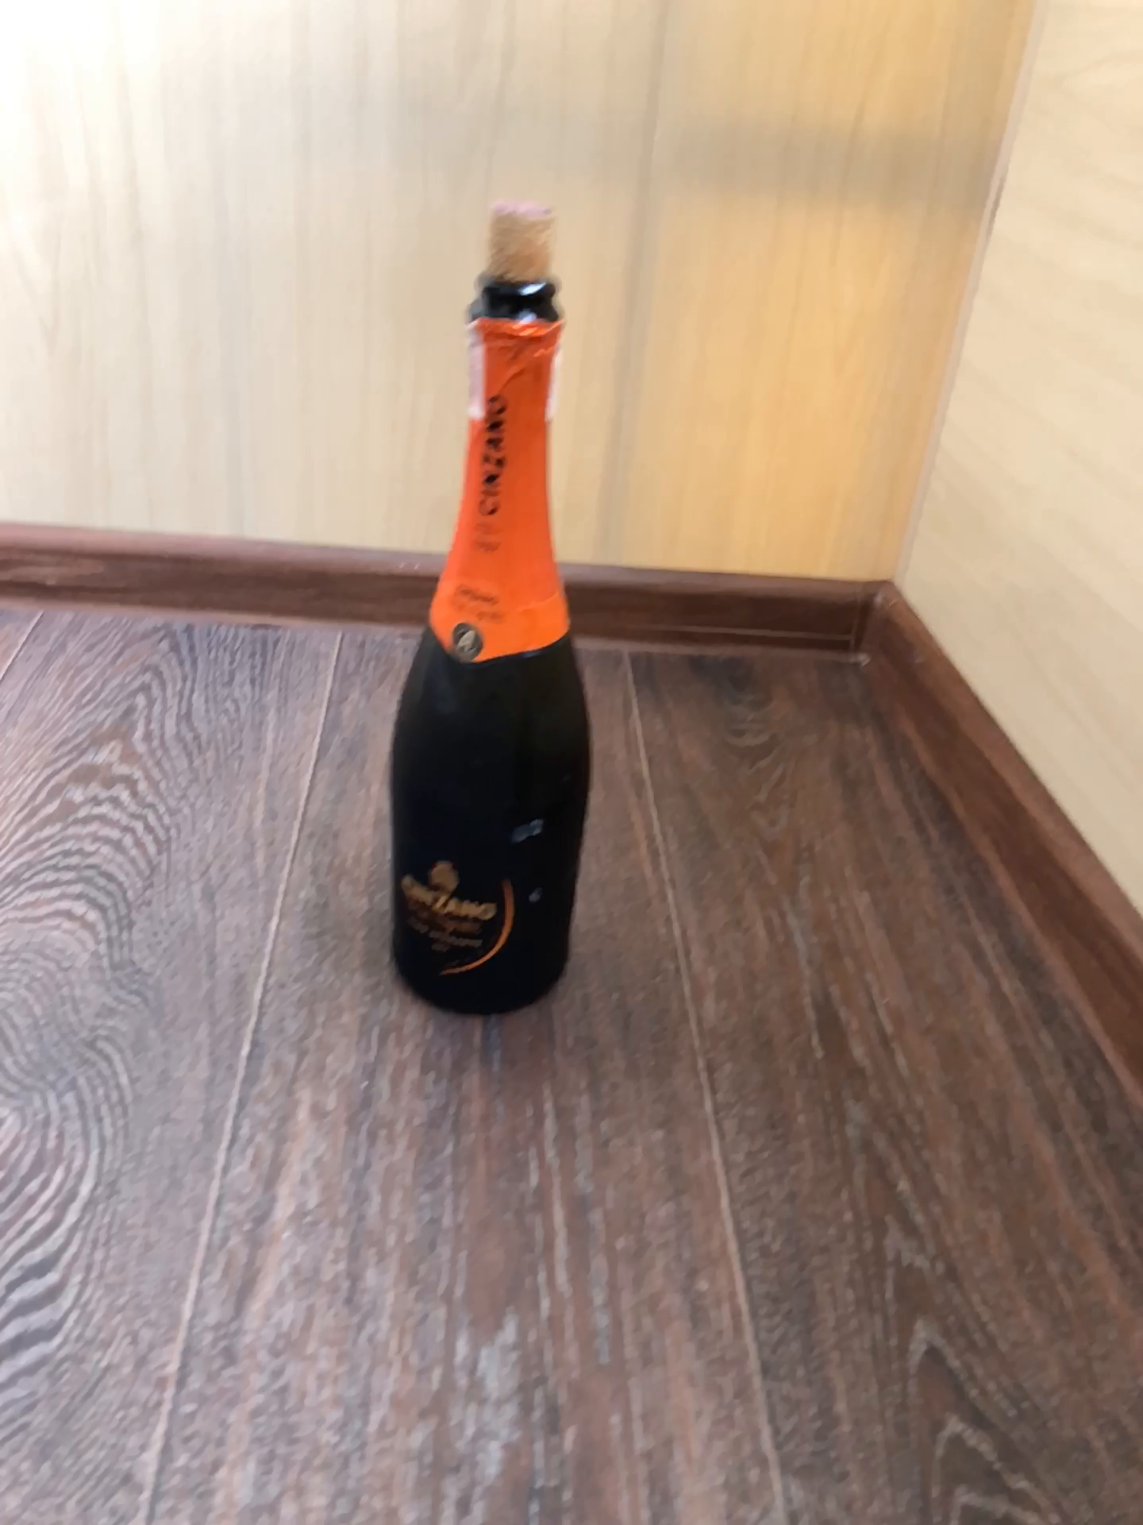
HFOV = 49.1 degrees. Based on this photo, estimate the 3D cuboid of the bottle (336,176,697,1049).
[{"bbox_3d":[-0.030,-0.050,0.512,0.092,0.328,0.101,5,31,-3],"label":"bottle"}]
